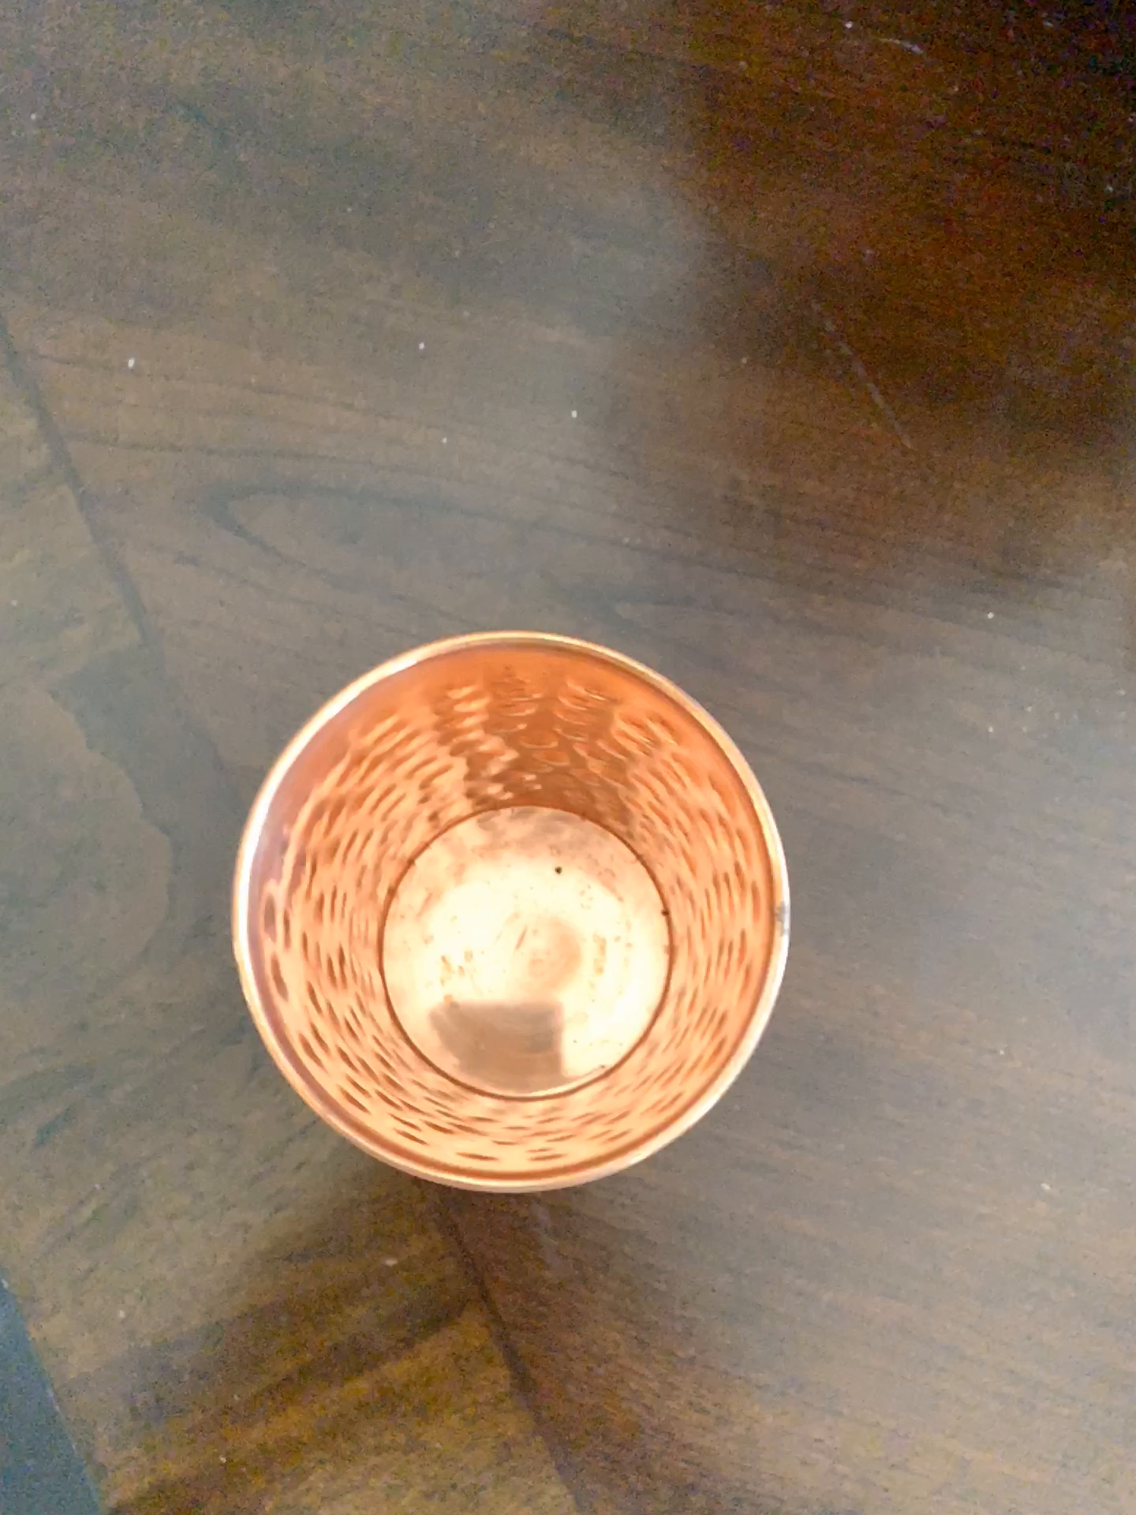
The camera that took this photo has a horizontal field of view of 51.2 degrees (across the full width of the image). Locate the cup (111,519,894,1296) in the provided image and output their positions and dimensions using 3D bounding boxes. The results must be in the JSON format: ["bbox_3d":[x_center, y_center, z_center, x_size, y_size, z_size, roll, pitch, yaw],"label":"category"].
[{"bbox_3d":[-0.009,0.025,0.185,0.070,0.083,0.066,0,76,-1],"label":"cup"}]
